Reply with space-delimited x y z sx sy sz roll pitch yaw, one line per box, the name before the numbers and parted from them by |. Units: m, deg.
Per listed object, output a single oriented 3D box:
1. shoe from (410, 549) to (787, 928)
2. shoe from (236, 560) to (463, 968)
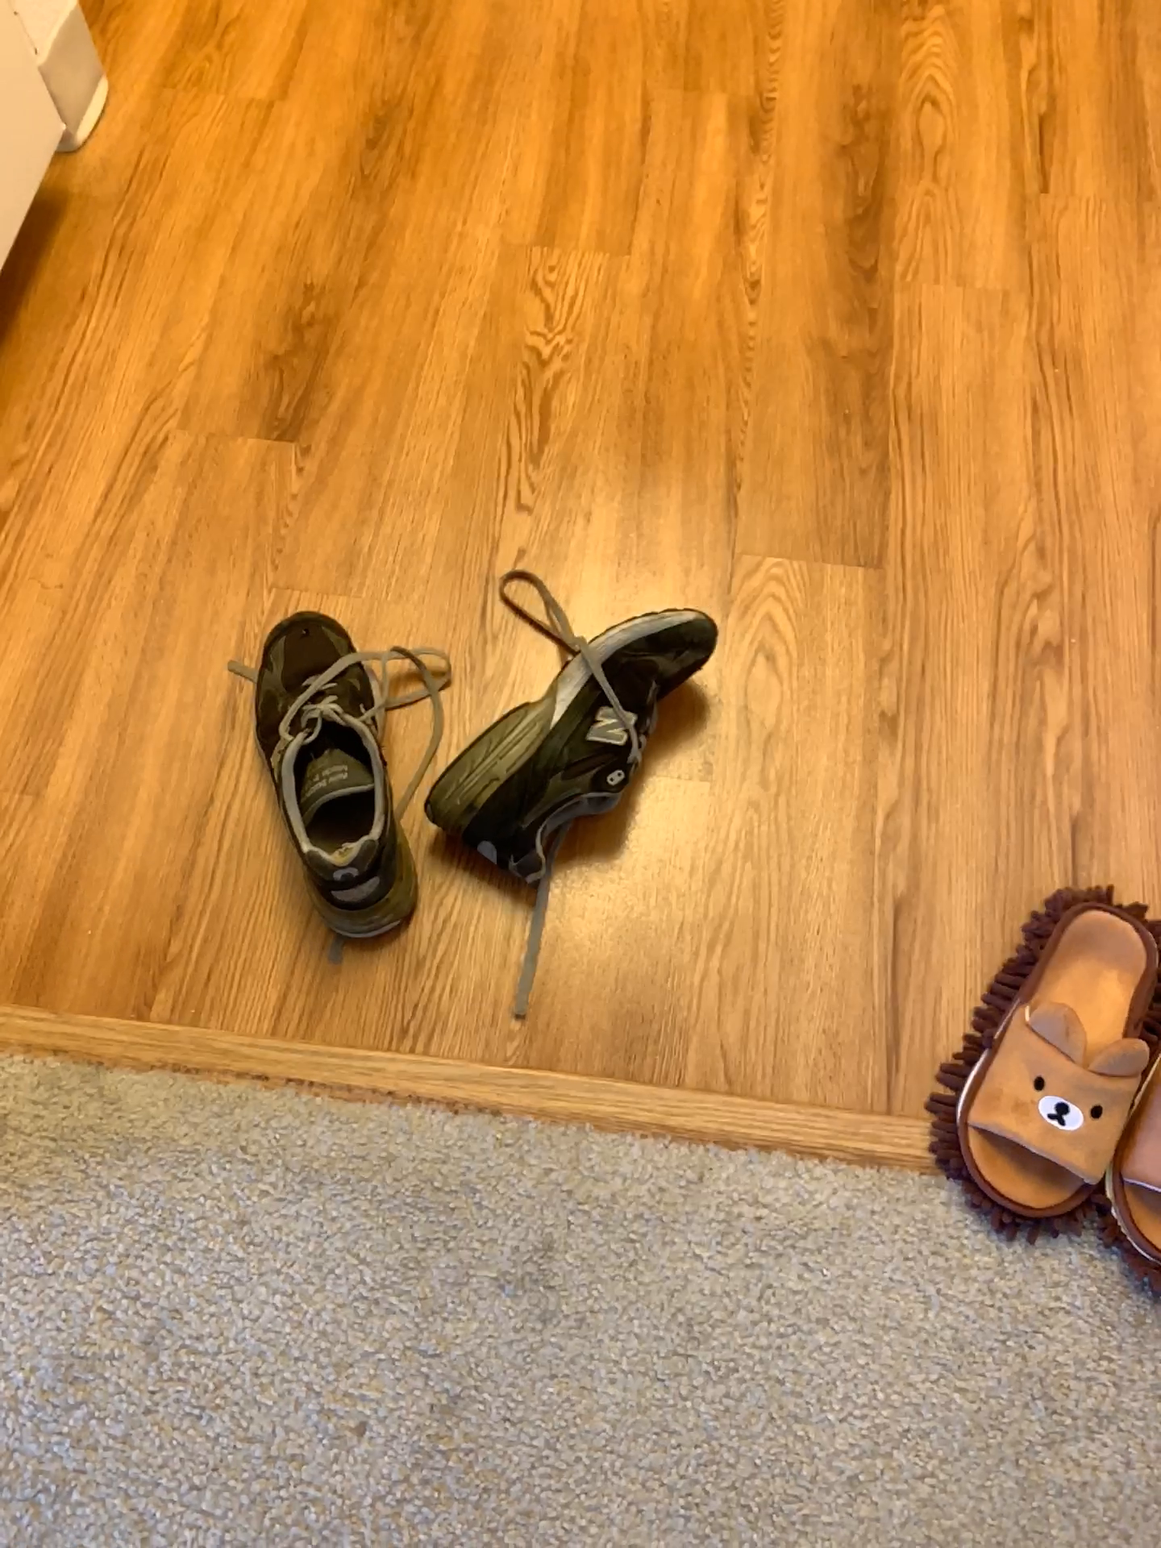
shoe | 0.025 -0.034 1.048 0.320 0.130 0.120 -40 61 -16
shoe | -0.214 -0.008 1.110 0.120 0.170 0.321 -15 66 -7
